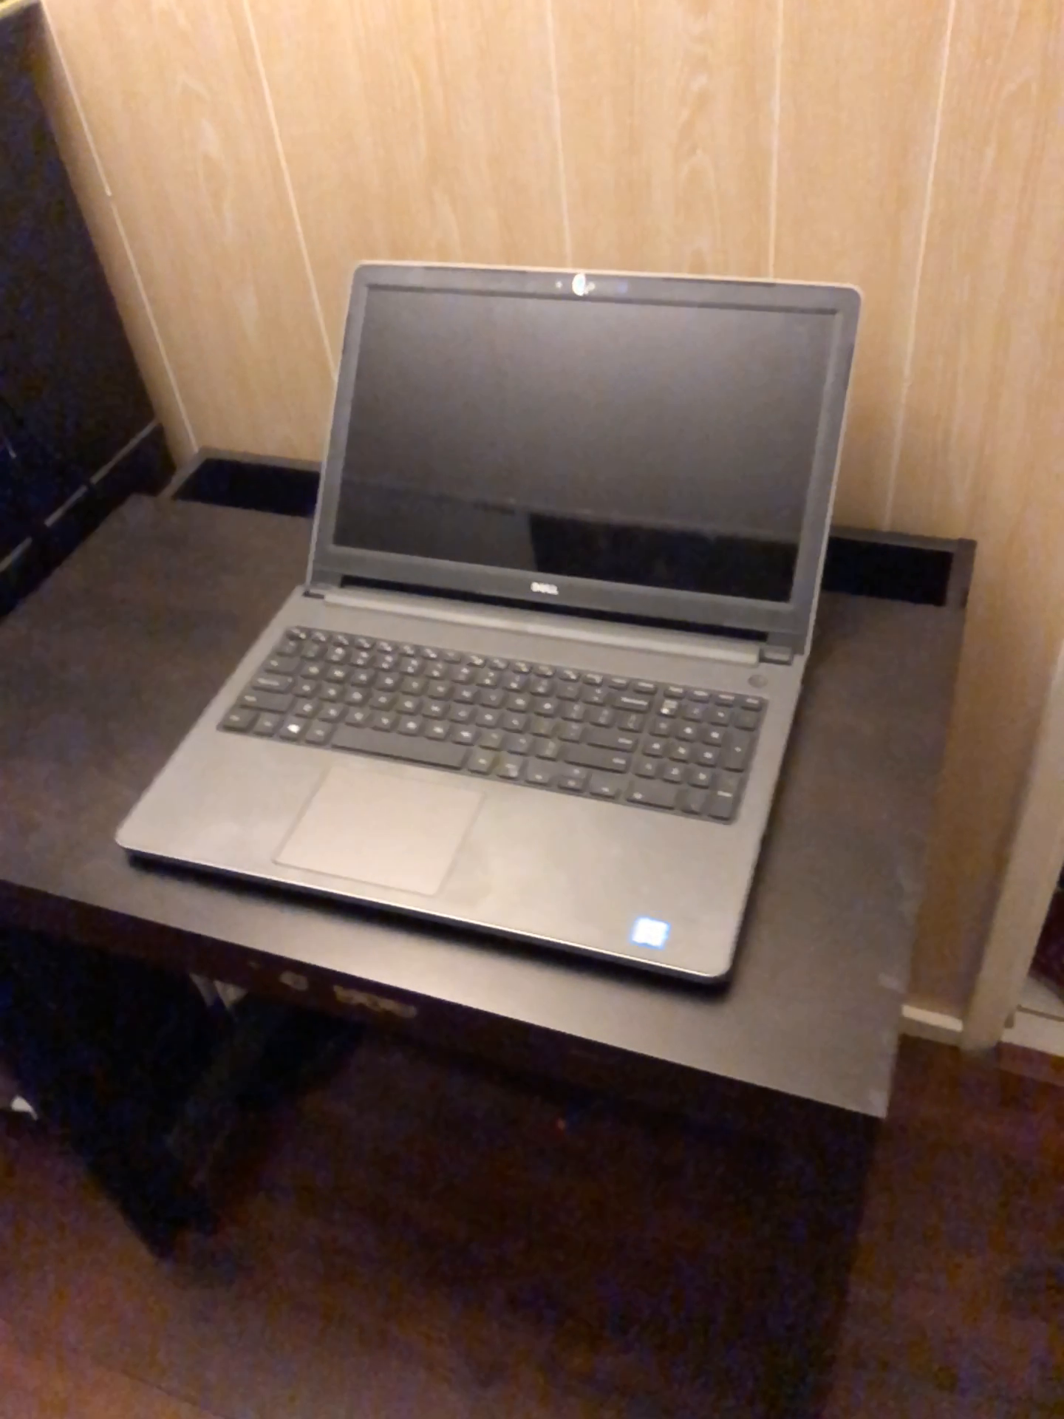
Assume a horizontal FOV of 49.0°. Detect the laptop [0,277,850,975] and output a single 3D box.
[{"bbox_3d":[-0.022,-0.096,0.740,0.368,0.172,0.428,9,45,18],"label":"laptop"}]
